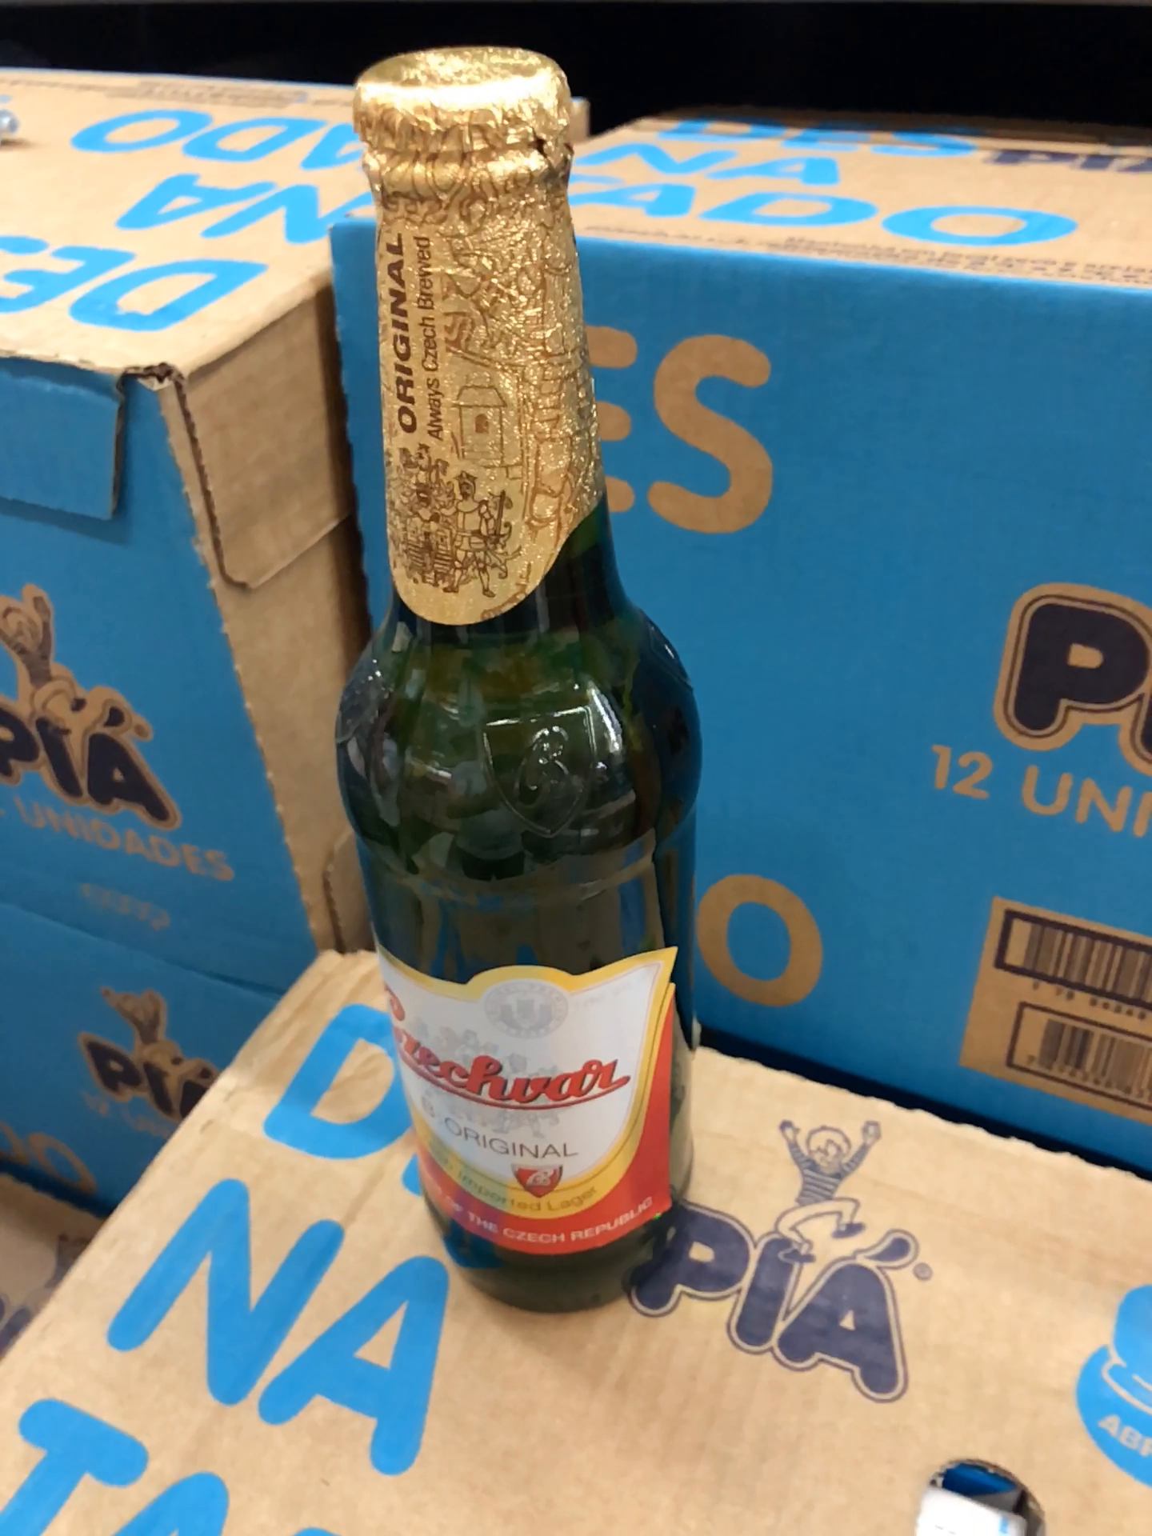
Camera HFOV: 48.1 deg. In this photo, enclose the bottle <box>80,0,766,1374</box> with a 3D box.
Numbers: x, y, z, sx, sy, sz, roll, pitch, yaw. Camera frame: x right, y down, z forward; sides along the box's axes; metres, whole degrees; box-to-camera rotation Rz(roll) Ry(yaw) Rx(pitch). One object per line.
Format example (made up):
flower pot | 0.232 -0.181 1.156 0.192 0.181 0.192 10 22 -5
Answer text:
bottle | -0.012 0.000 0.249 0.070 0.268 0.071 -1 34 1
